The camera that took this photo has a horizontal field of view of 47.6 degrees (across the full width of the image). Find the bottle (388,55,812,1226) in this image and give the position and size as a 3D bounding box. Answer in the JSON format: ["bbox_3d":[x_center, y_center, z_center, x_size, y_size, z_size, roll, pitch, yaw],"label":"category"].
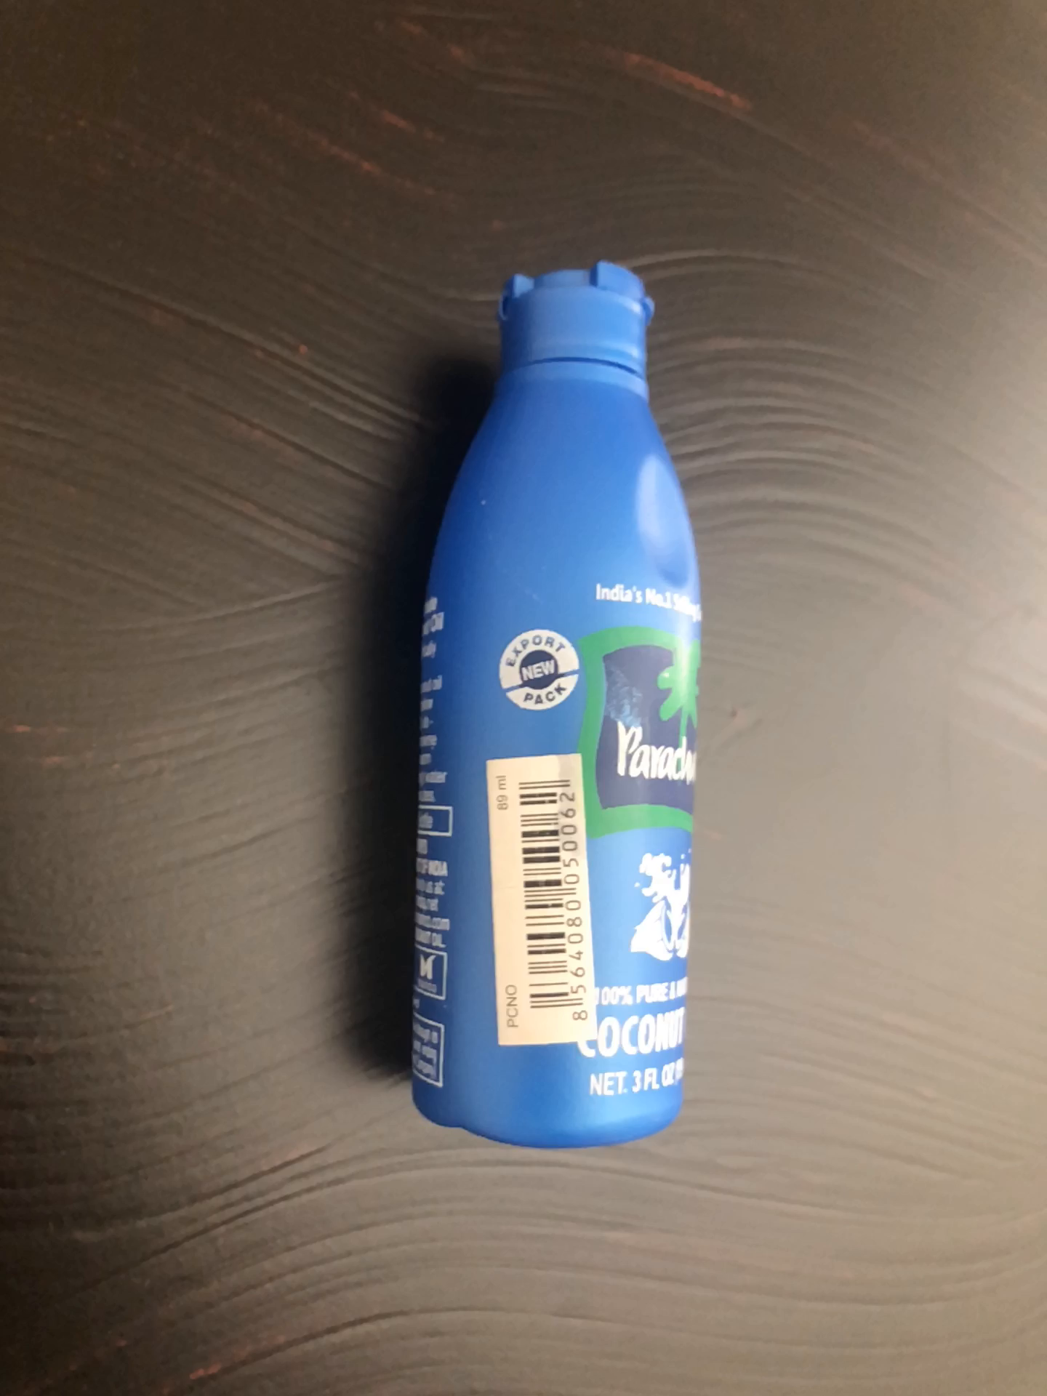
[{"bbox_3d":[0.013,-0.008,0.168,0.040,0.040,0.140,10,80,-52],"label":"bottle"}]
